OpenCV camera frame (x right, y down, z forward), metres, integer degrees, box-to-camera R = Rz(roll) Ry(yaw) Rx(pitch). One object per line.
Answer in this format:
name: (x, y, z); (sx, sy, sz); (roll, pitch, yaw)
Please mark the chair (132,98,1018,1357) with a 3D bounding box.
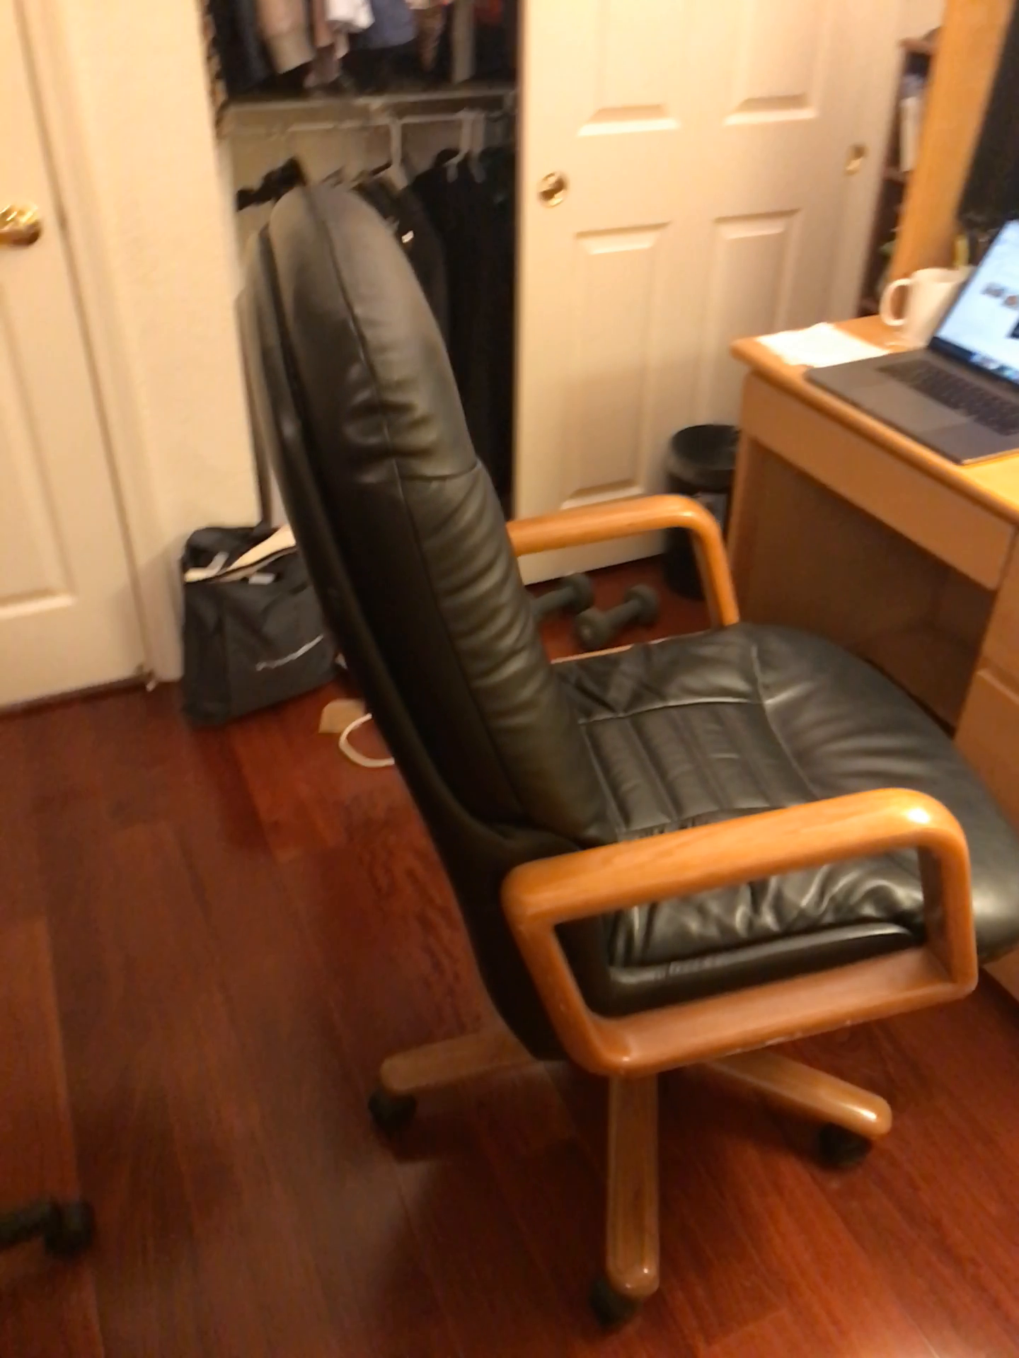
chair: (0.130, 0.018, 1.331); (0.851, 1.141, 0.997); (-6, 36, -10)
